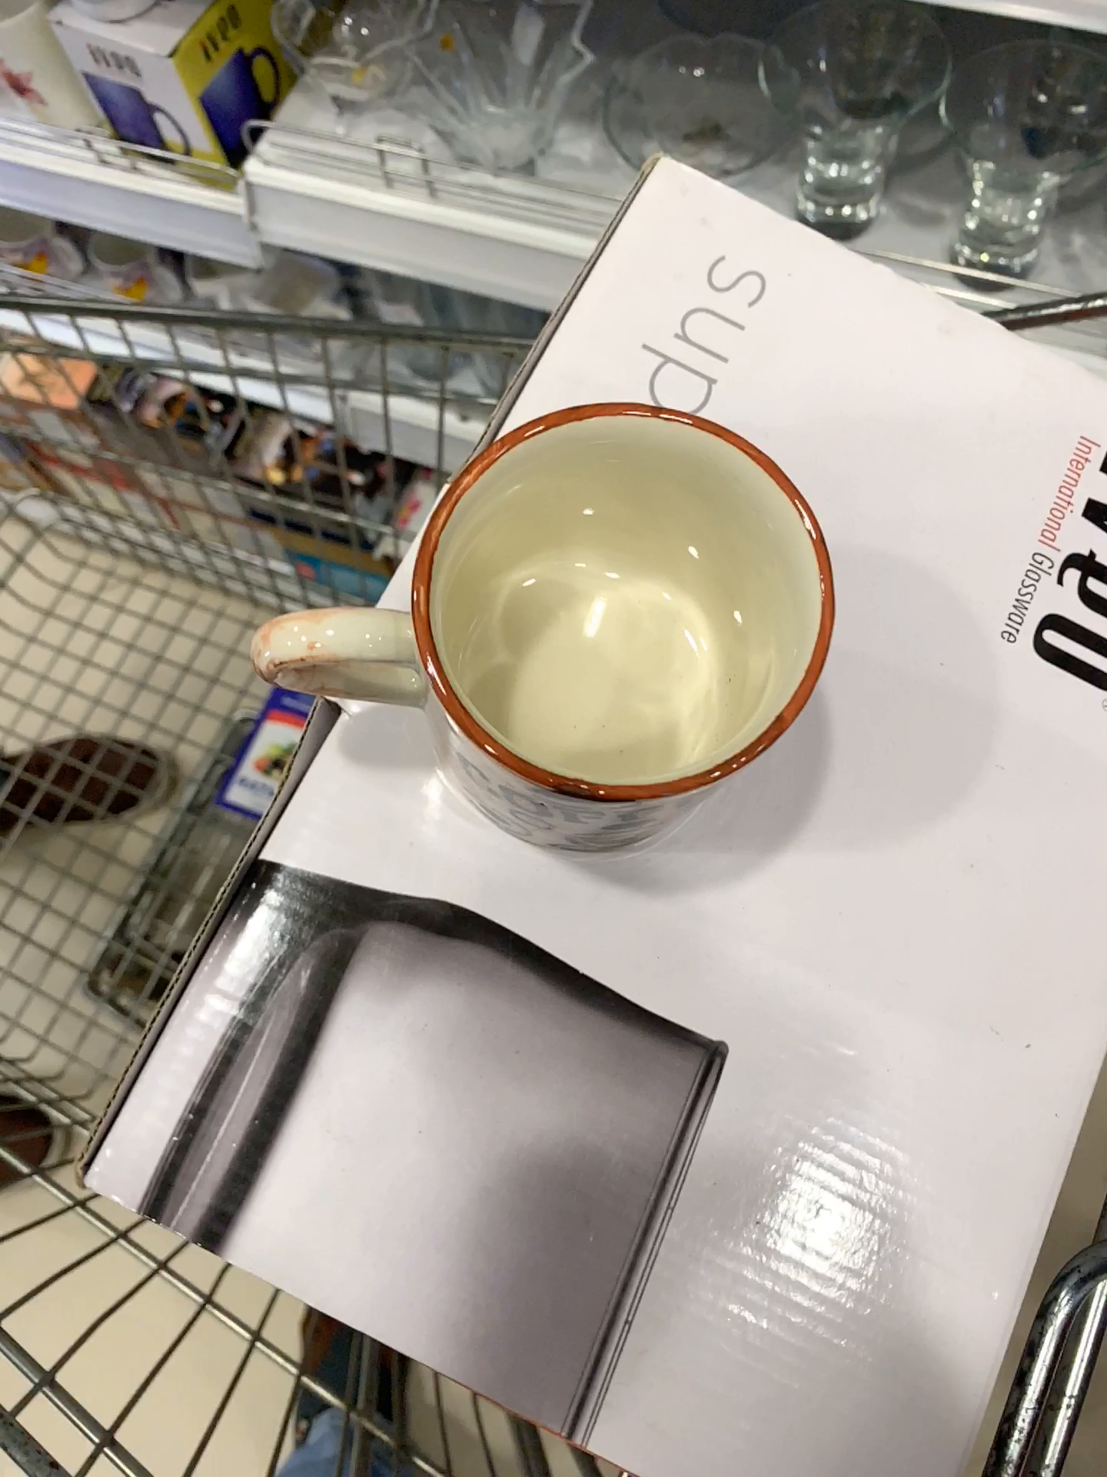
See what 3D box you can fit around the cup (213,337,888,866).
[{"bbox_3d":[-0.003,-0.020,0.214,0.100,0.070,0.070,2,70,-5],"label":"cup"}]
